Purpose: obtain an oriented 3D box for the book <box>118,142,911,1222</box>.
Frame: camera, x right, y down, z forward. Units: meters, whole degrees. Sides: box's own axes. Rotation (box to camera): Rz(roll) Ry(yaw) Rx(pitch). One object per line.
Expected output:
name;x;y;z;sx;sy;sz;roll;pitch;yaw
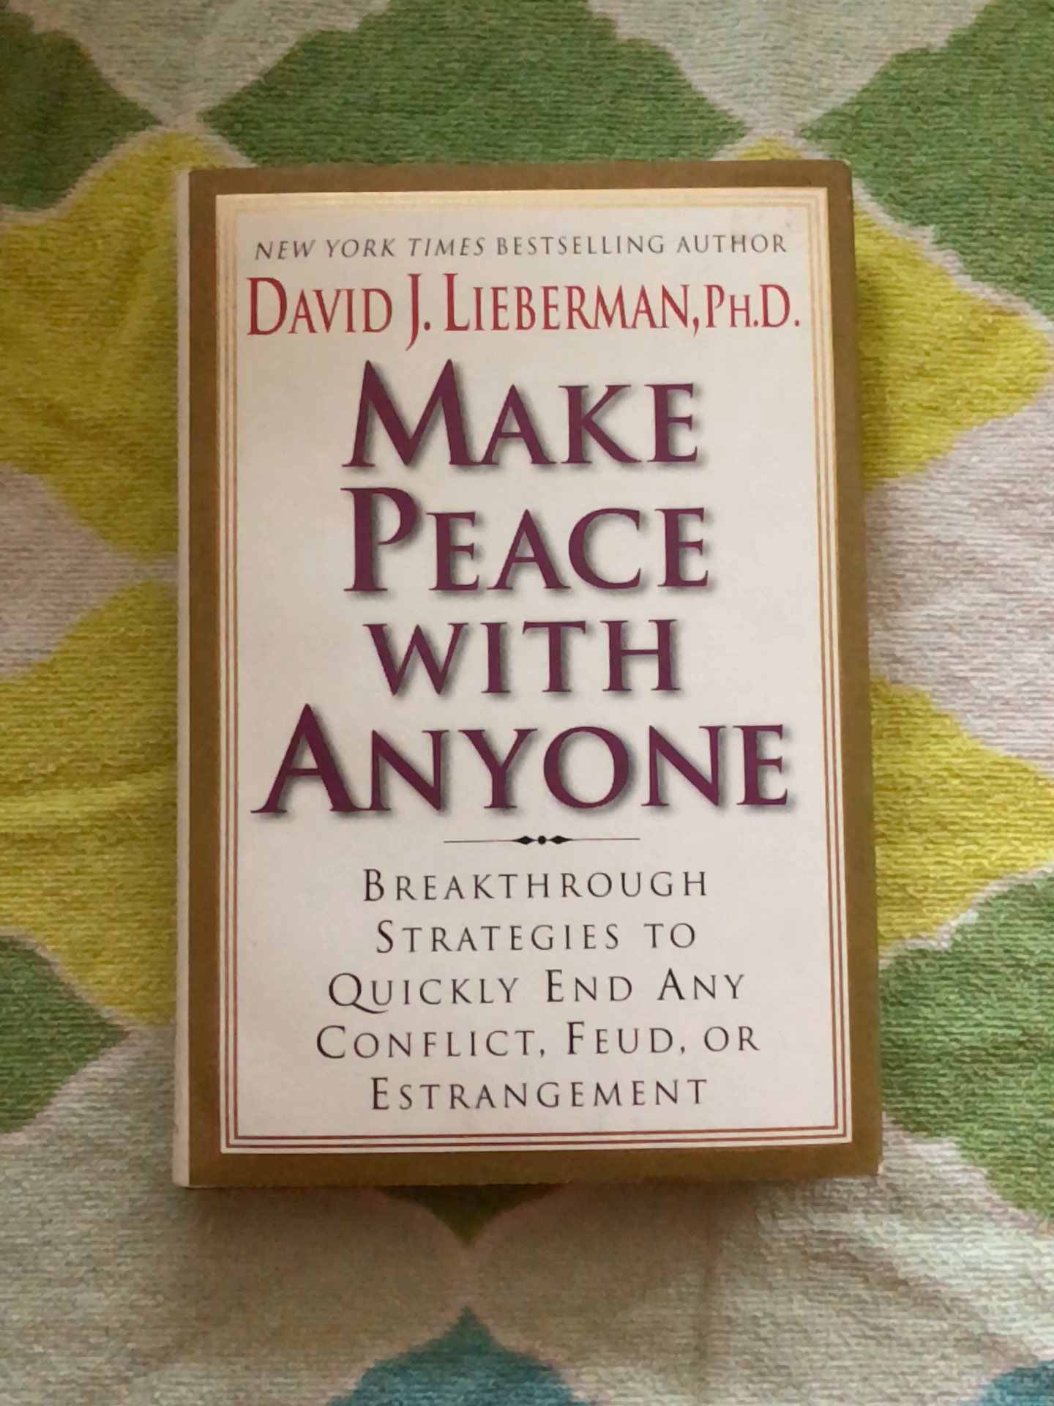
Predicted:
book;-0.004;-0.007;0.237;0.145;0.030;0.204;-1;85;0
